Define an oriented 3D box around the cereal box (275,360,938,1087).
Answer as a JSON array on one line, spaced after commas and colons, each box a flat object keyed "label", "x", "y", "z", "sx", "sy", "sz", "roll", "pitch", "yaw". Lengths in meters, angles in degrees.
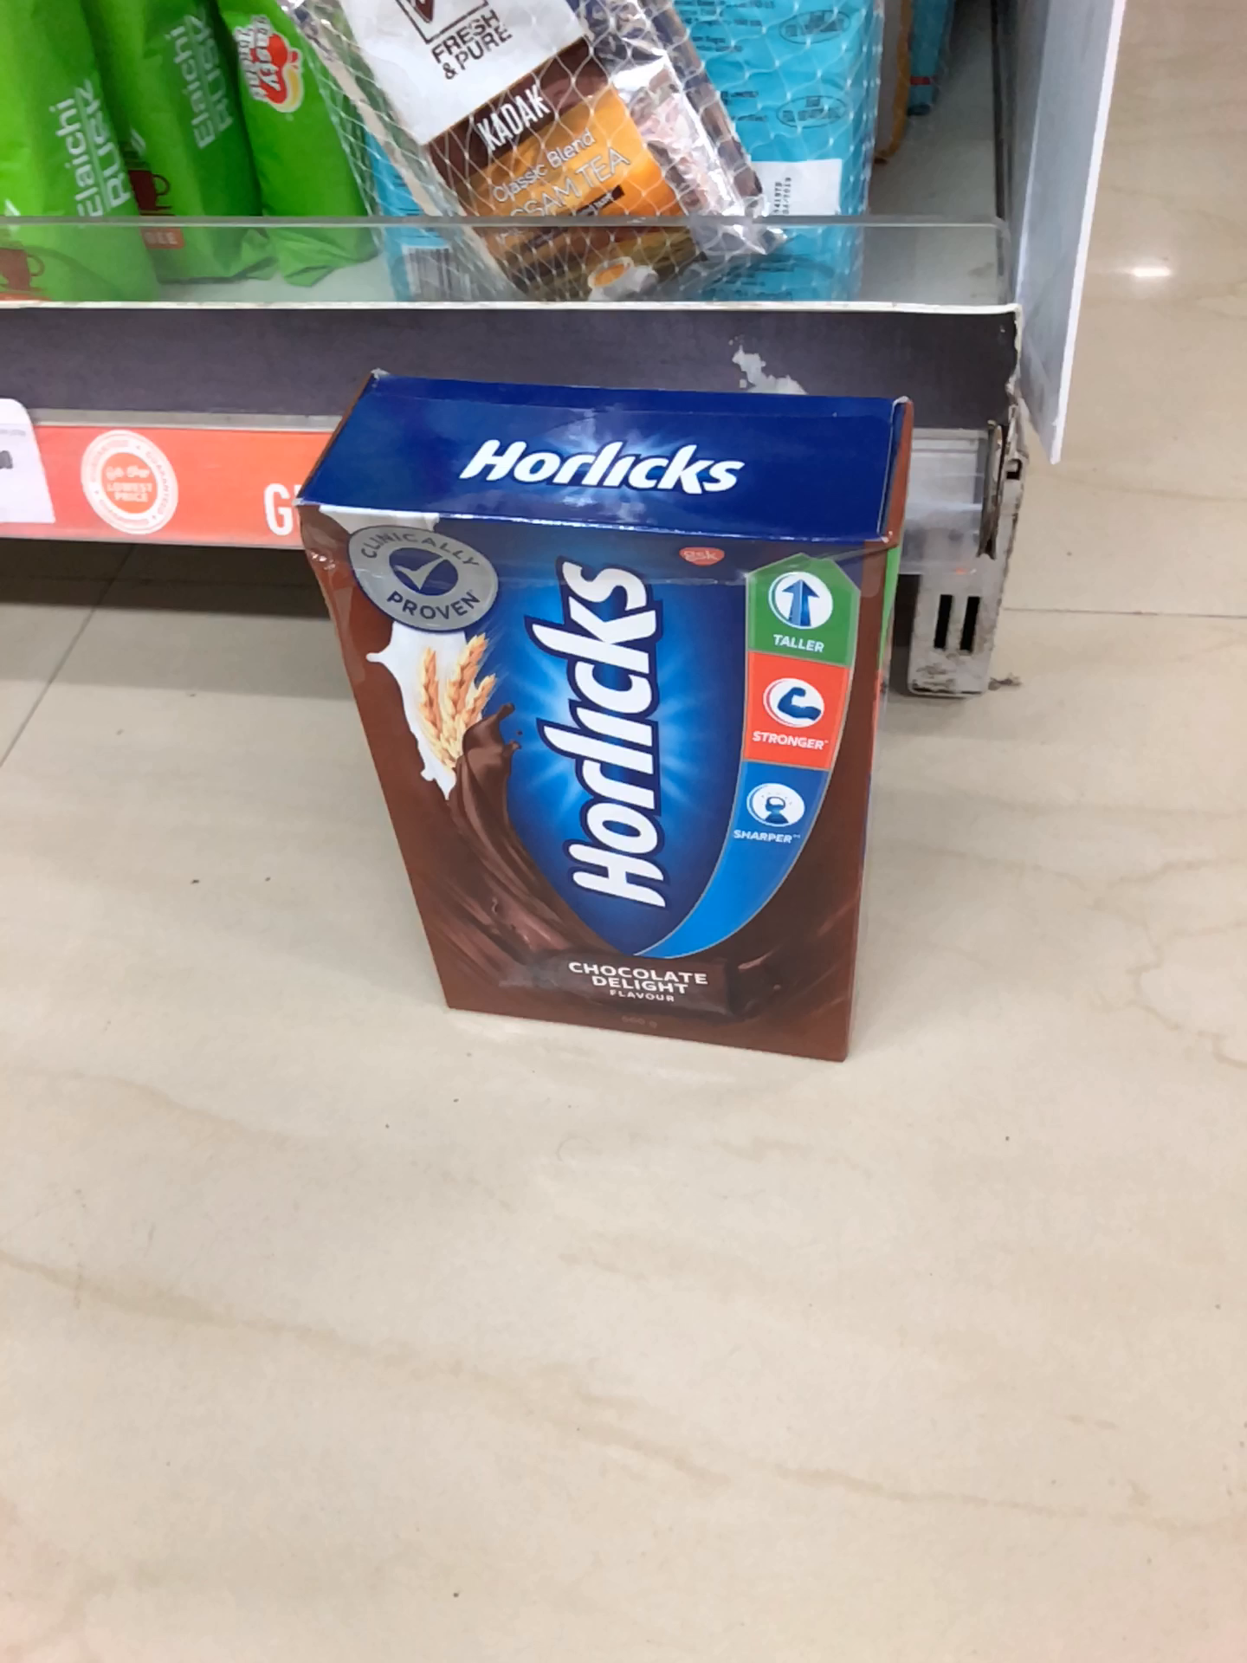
[{"label": "cereal box", "x": 0.006, "y": -0.019, "z": 0.389, "sx": 0.140, "sy": 0.209, "sz": 0.060, "roll": 6, "pitch": 50, "yaw": 12}]
